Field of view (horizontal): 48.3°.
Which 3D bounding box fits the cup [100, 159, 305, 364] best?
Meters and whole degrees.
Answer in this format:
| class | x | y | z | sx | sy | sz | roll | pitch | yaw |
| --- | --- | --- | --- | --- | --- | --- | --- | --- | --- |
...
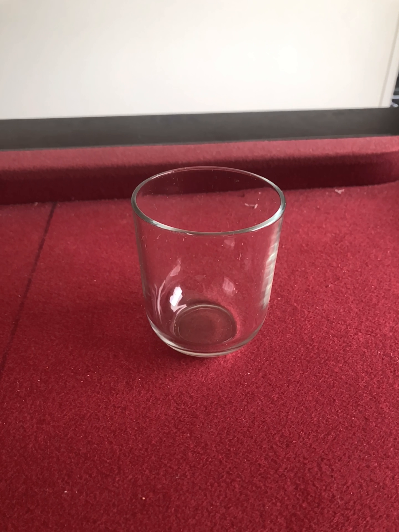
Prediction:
| class | x | y | z | sx | sy | sz | roll | pitch | yaw |
| --- | --- | --- | --- | --- | --- | --- | --- | --- | --- |
| cup | 0.002 | -0.006 | 0.226 | 0.080 | 0.070 | 0.080 | 0 | 34 | 0 |
